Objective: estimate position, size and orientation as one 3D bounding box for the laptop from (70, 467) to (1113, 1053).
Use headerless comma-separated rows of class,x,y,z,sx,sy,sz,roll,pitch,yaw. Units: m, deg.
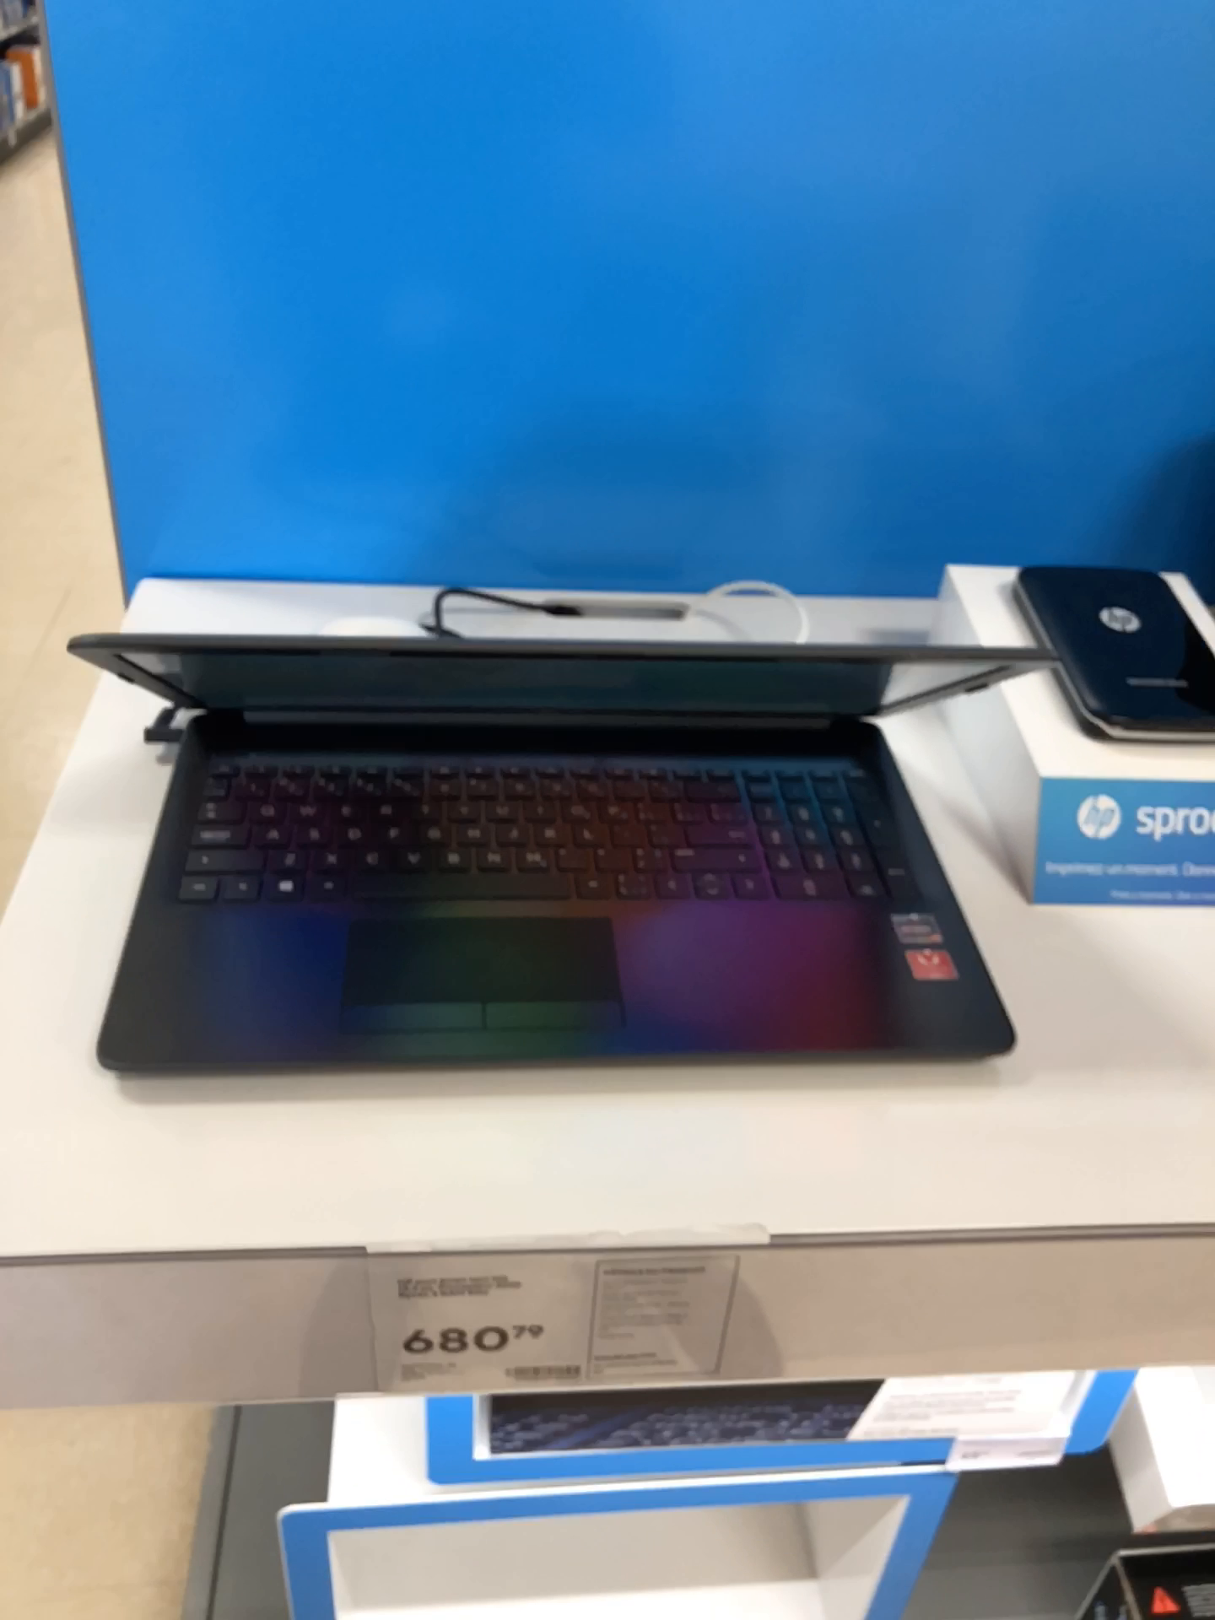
laptop,-0.013,-0.032,0.587,0.355,0.130,0.243,1,35,-9
